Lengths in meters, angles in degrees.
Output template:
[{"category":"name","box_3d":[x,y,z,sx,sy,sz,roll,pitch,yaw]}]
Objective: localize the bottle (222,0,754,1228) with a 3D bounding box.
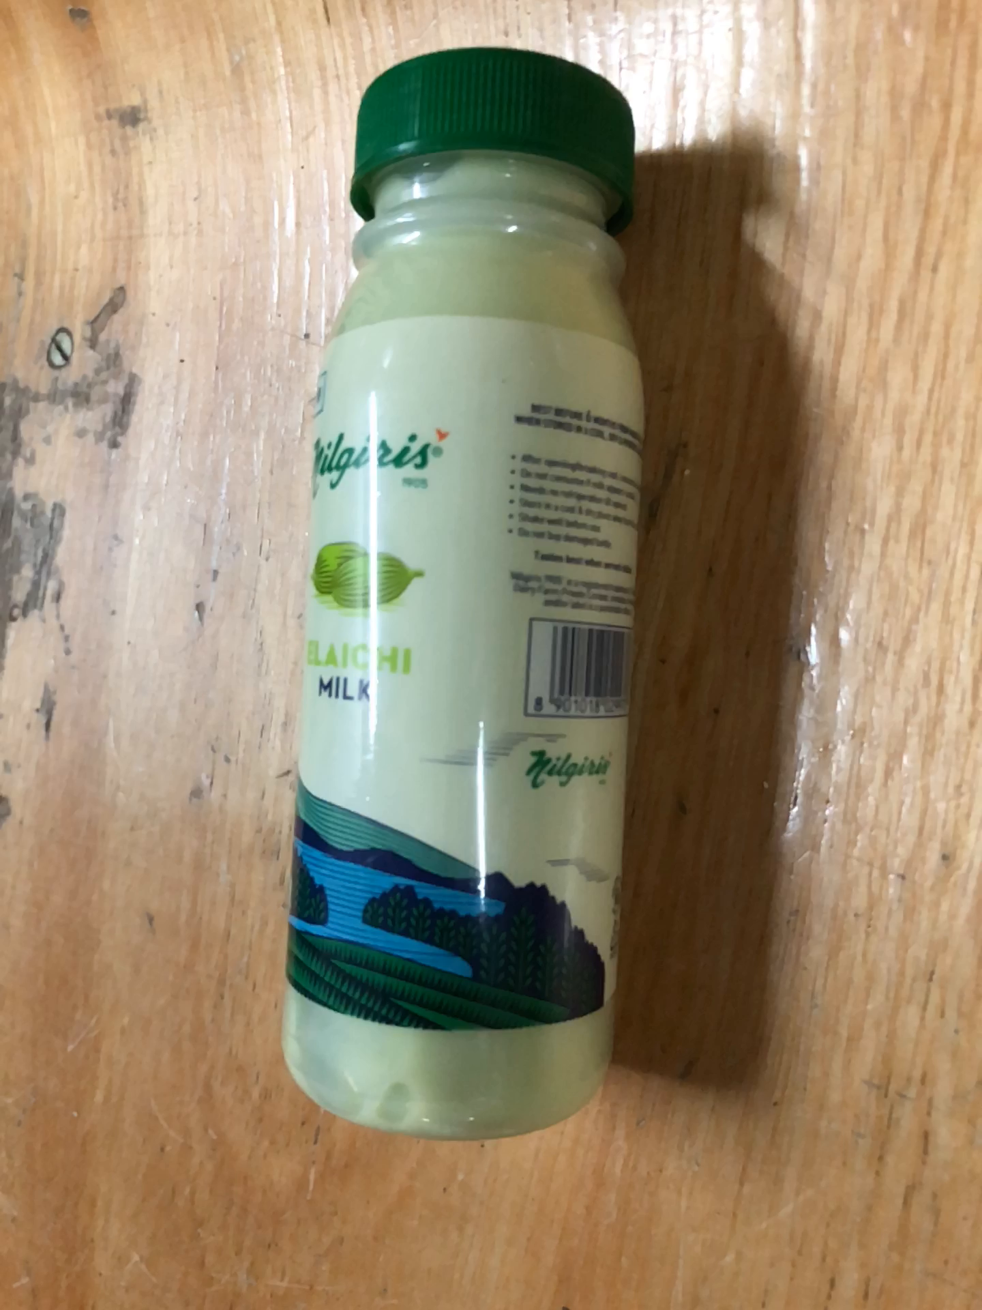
[{"category":"bottle","box_3d":[0.000,-0.007,0.152,0.050,0.040,0.140,5,91,36]}]
